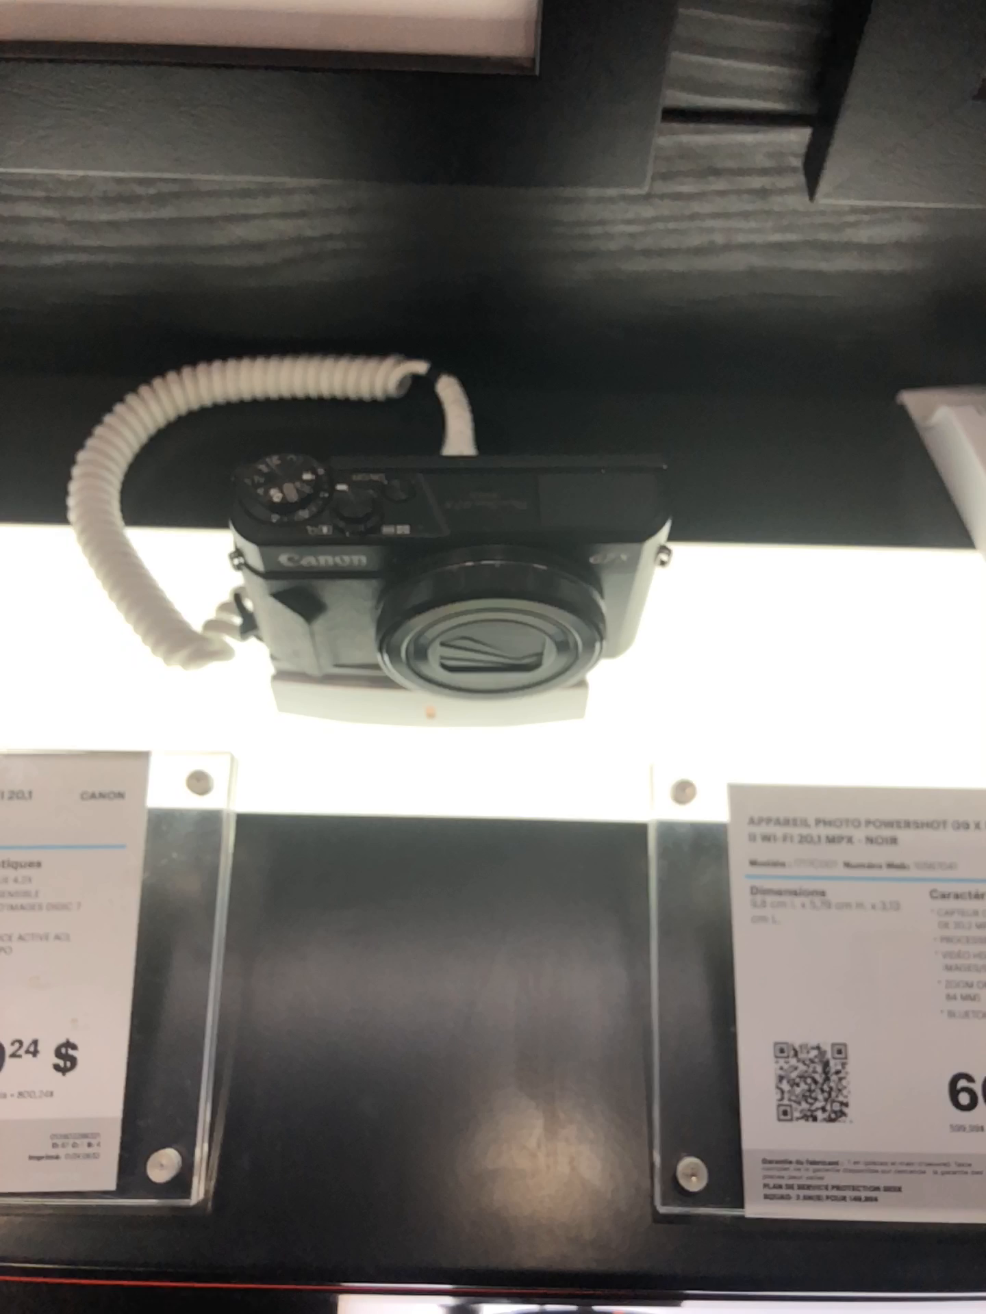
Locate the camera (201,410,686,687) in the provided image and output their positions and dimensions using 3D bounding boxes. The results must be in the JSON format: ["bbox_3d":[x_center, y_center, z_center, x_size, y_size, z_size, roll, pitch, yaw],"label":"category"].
[{"bbox_3d":[-0.013,-0.026,0.293,0.110,0.080,0.030,0,58,-3],"label":"camera"}]
